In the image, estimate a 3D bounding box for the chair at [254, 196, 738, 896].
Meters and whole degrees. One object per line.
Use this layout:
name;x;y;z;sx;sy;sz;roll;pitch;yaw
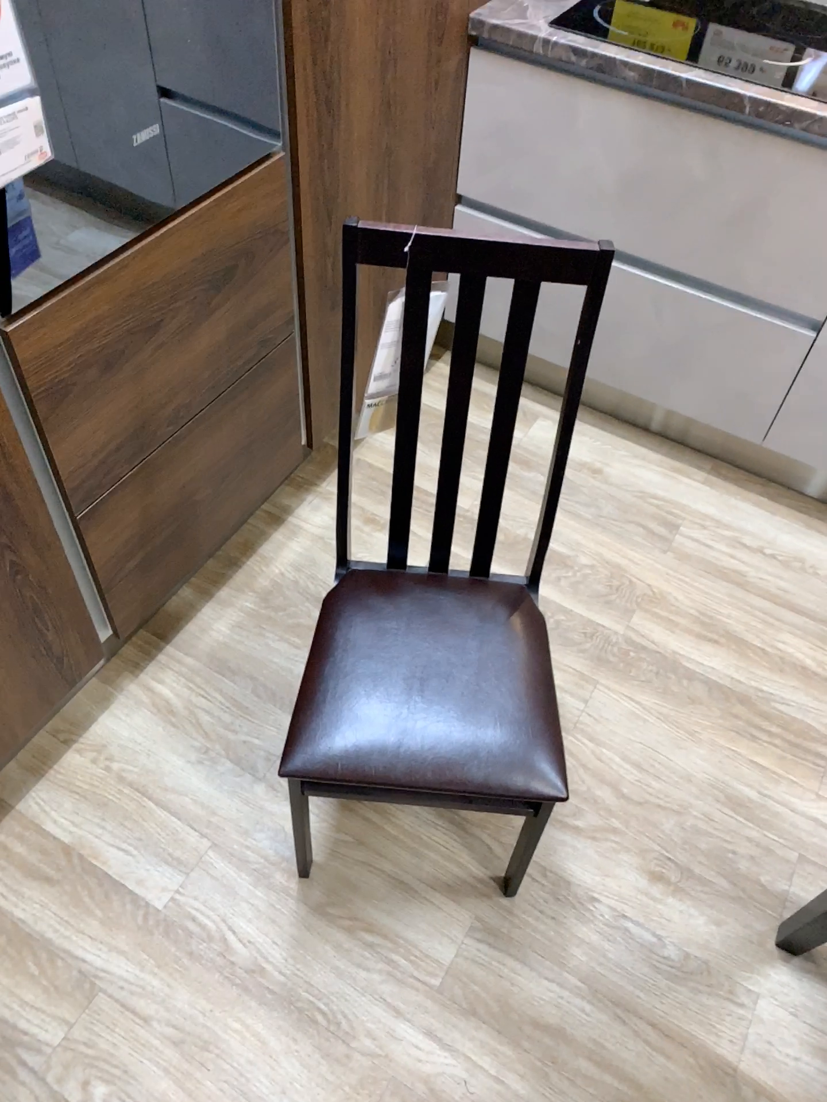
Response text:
chair;0.057;0.087;1.306;0.430;1.016;0.522;5;50;-1
